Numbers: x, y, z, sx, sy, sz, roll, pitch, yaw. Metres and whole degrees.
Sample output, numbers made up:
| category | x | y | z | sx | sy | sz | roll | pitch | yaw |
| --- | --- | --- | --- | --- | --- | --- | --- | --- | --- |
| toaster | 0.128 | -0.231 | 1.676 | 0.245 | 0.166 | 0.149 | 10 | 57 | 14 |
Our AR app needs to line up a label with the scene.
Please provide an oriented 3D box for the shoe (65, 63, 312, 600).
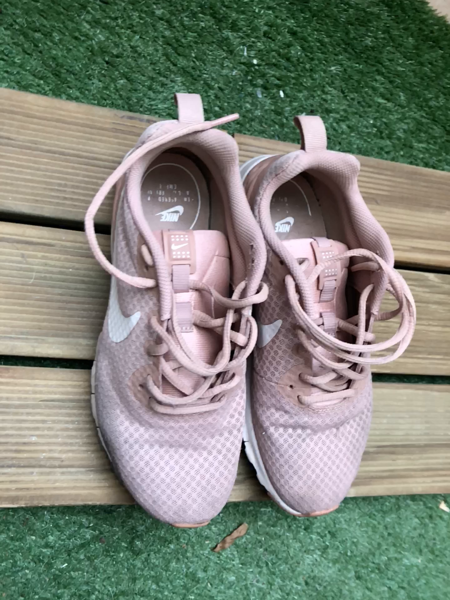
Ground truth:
| category | x | y | z | sx | sy | sz | roll | pitch | yaw |
| --- | --- | --- | --- | --- | --- | --- | --- | --- | --- |
| shoe | -0.029 | 0.015 | 0.292 | 0.110 | 0.090 | 0.260 | -2 | 84 | -16 |

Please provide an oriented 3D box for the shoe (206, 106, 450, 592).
| category | x | y | z | sx | sy | sz | roll | pitch | yaw |
| --- | --- | --- | --- | --- | --- | --- | --- | --- | --- |
| shoe | 0.063 | 0.022 | 0.326 | 0.110 | 0.090 | 0.260 | -4 | 85 | -16 |
